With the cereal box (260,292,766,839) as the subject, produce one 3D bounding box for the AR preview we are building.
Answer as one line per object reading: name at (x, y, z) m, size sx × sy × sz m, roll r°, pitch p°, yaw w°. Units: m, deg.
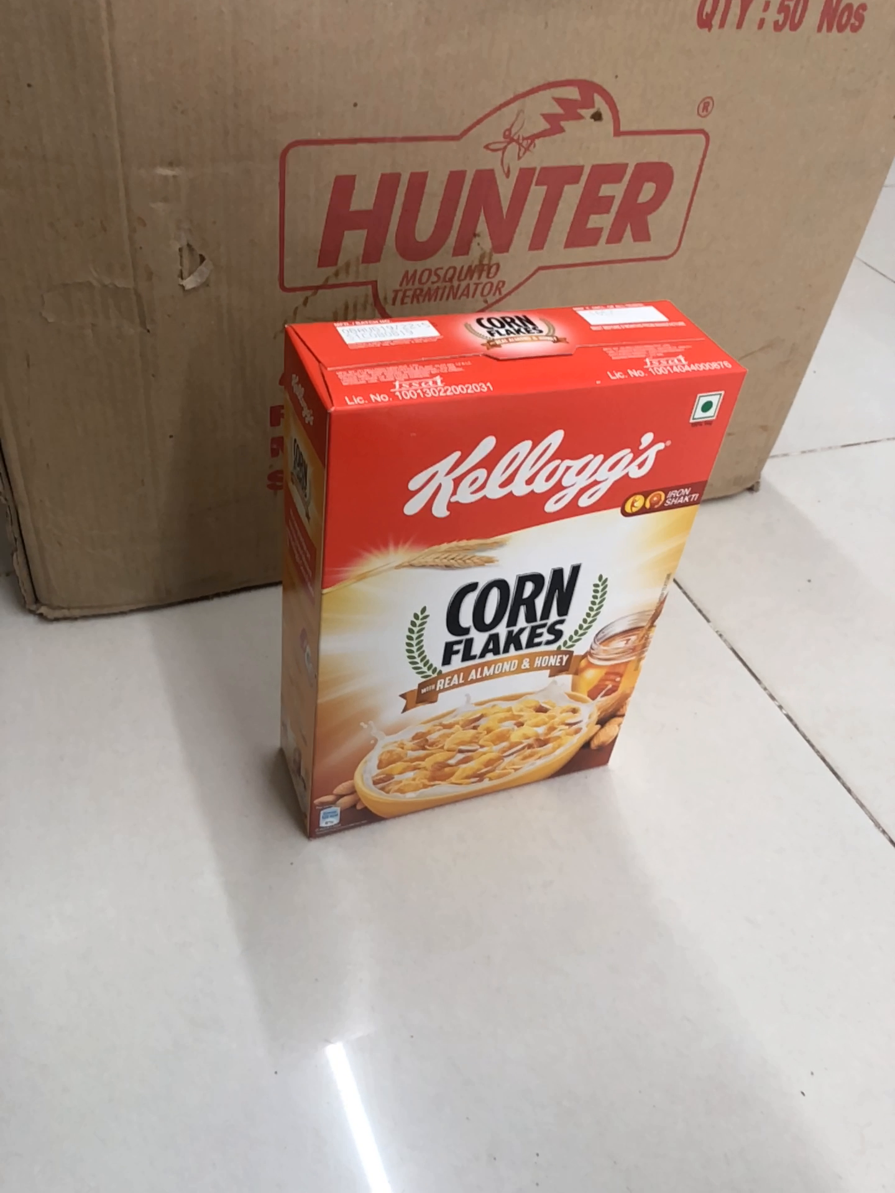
cereal box at (0.015, -0.008, 0.495) m, size 0.200 × 0.259 × 0.070 m, roll -10°, pitch 45°, yaw -21°
